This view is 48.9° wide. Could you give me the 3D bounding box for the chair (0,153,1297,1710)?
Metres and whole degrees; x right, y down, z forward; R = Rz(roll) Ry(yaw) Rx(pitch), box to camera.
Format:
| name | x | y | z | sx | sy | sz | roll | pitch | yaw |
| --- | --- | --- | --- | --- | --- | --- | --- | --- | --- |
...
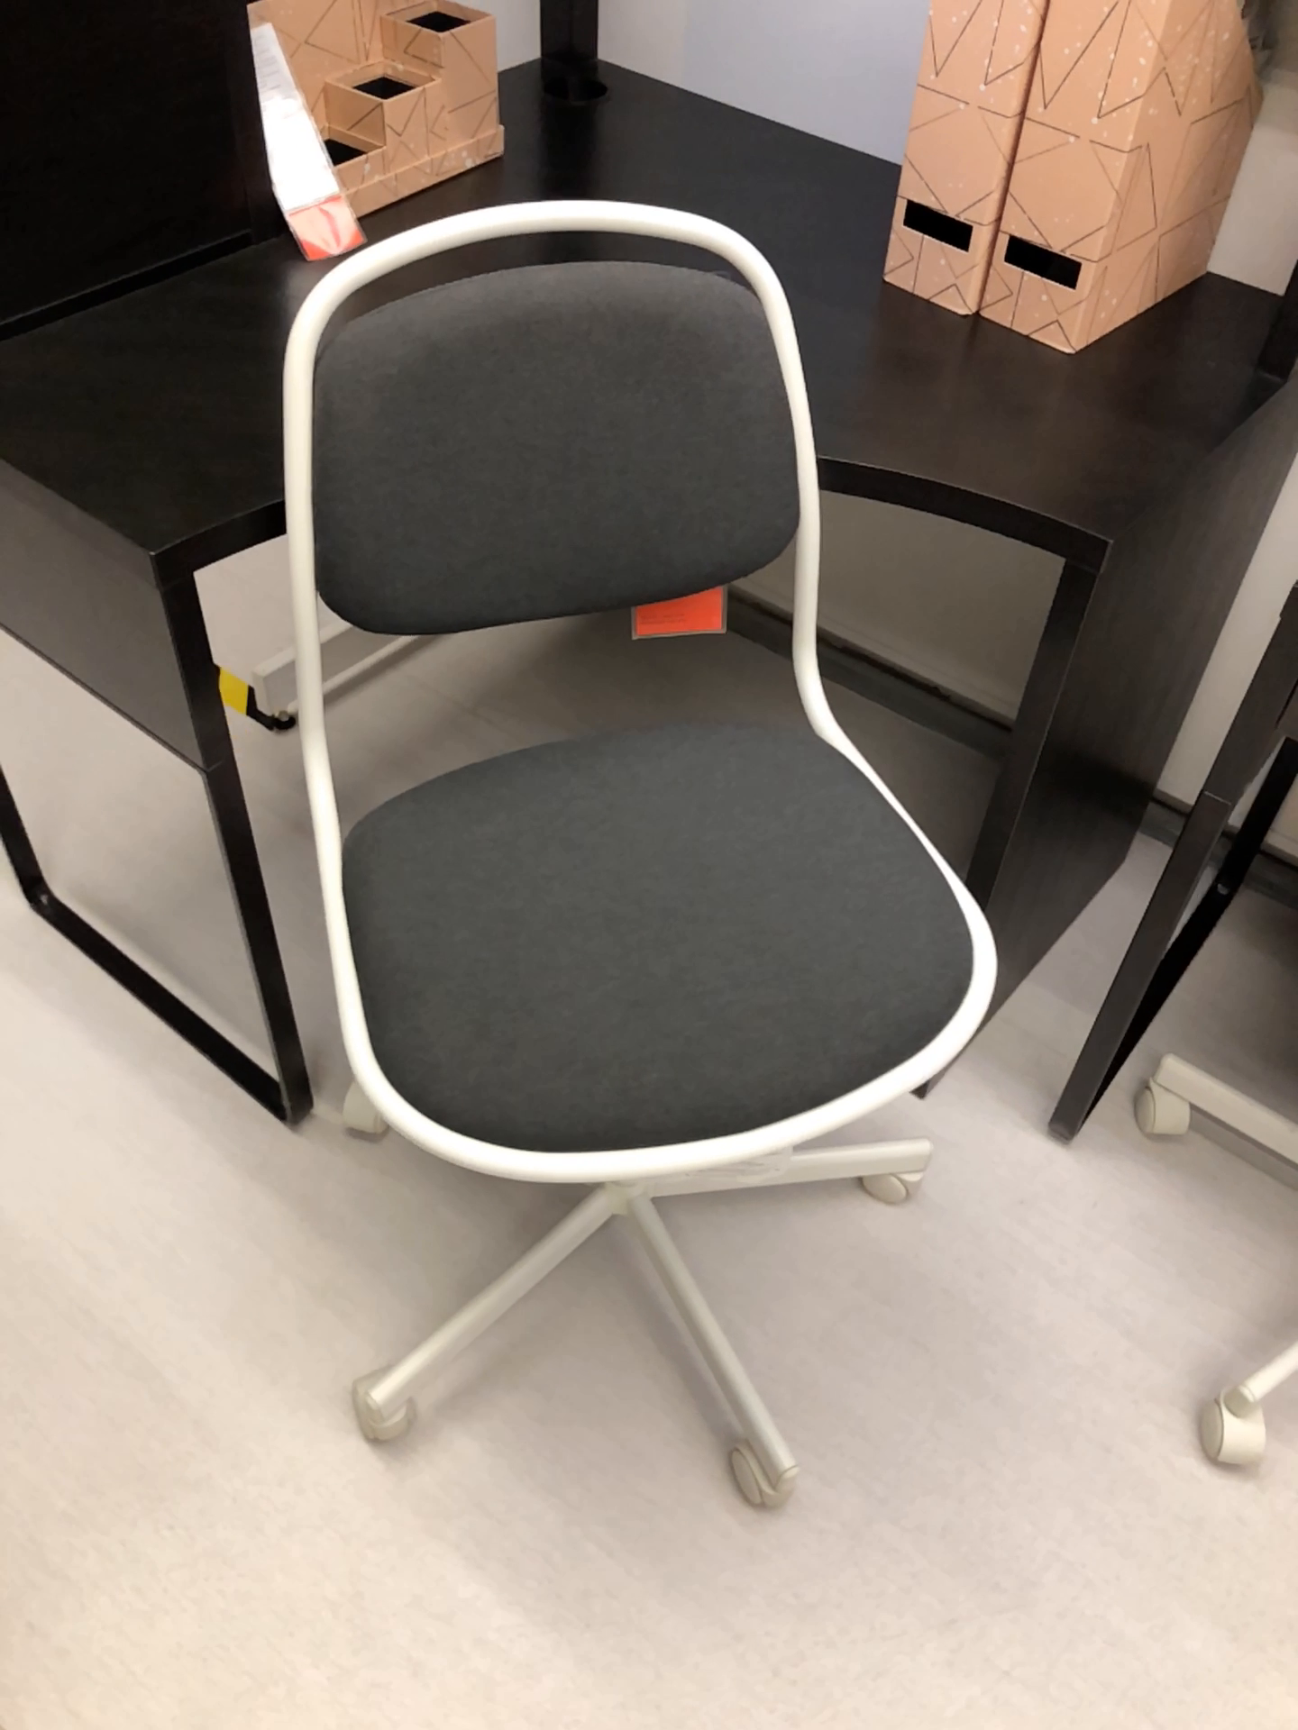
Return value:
| name | x | y | z | sx | sy | sz | roll | pitch | yaw |
| --- | --- | --- | --- | --- | --- | --- | --- | --- | --- |
| chair | -0.049 | 0.071 | 1.107 | 0.661 | 0.904 | 0.623 | -15 | 49 | -17 |
